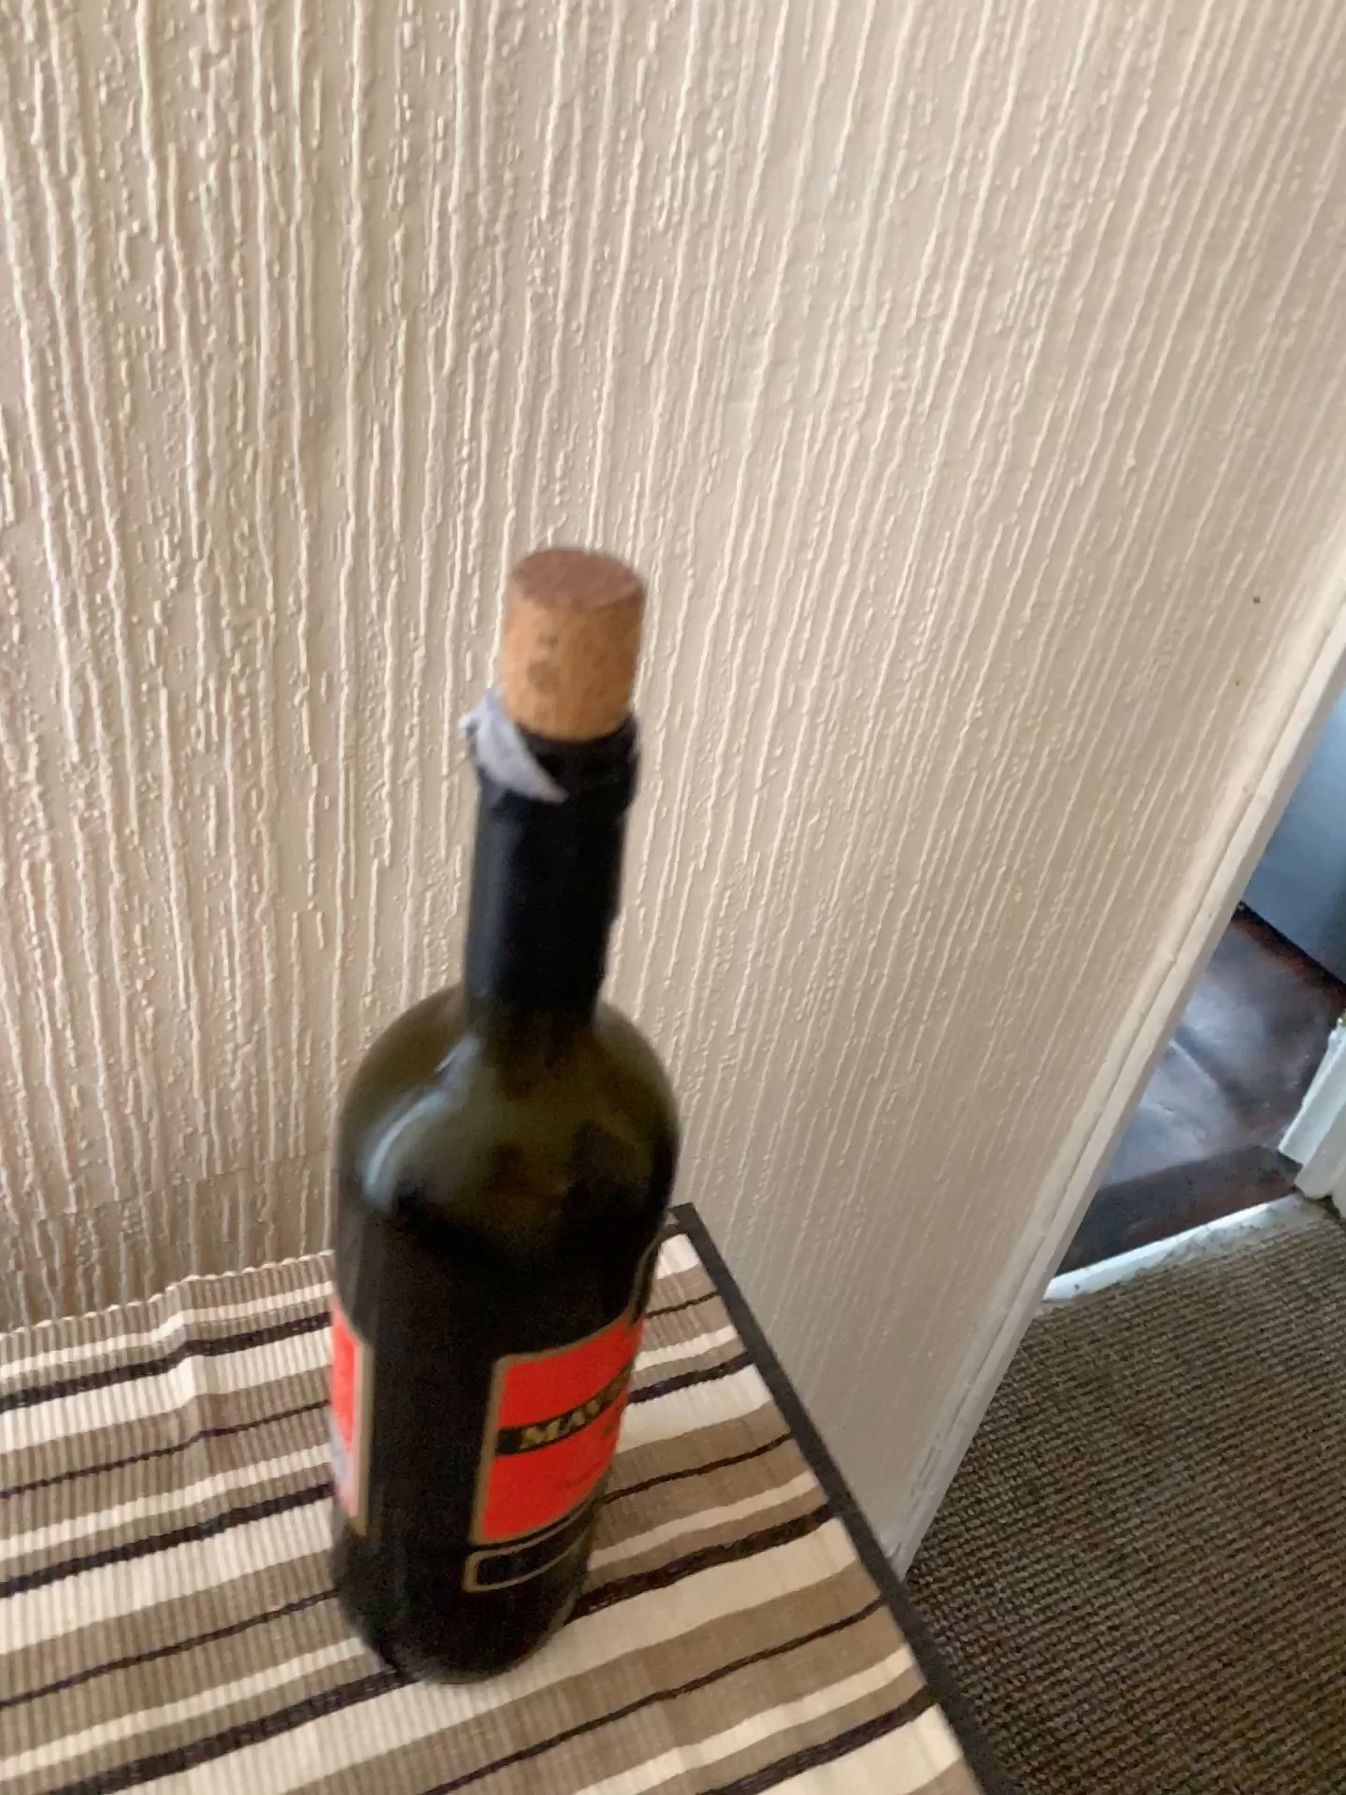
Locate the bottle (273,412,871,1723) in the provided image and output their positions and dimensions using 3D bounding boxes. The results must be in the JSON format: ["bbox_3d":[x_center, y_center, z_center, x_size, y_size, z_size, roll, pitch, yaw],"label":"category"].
[{"bbox_3d":[-0.035,0.066,0.319,0.080,0.317,0.081,7,36,-5],"label":"bottle"}]
